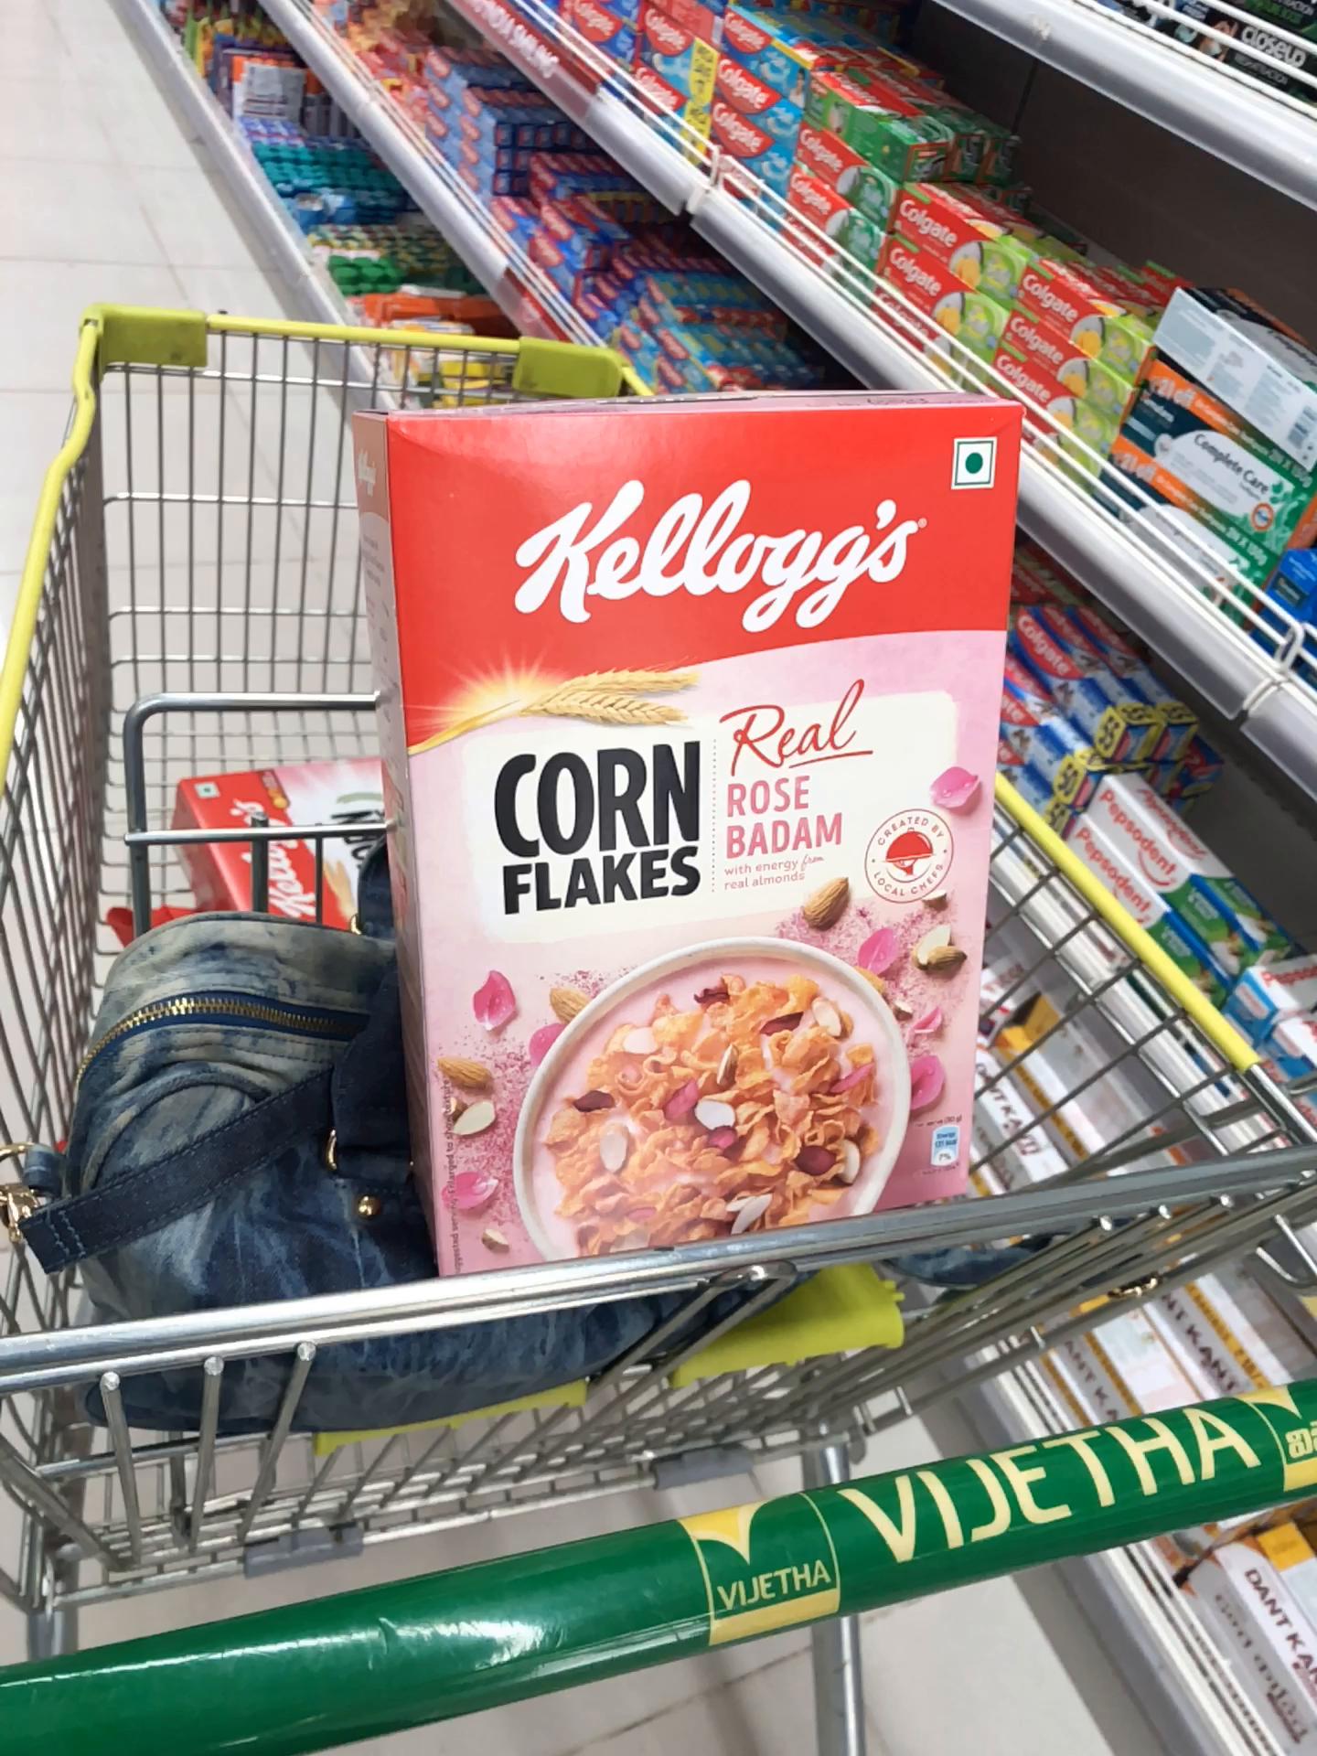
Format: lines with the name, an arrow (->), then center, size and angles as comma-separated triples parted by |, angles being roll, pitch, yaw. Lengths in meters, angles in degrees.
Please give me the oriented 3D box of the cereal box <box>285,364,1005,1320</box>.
cereal box -> -0.007, -0.013, 0.467 | 0.190, 0.279, 0.070 | -7, 25, -18
